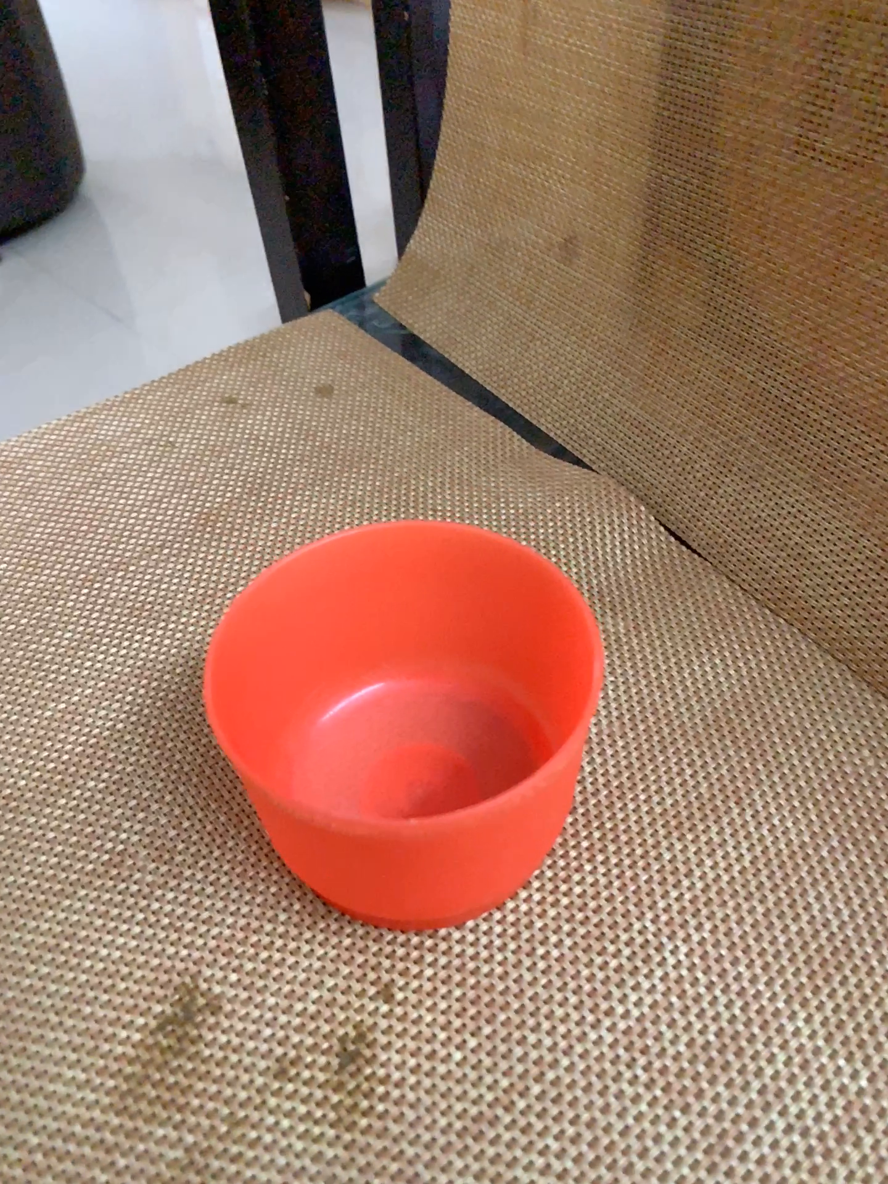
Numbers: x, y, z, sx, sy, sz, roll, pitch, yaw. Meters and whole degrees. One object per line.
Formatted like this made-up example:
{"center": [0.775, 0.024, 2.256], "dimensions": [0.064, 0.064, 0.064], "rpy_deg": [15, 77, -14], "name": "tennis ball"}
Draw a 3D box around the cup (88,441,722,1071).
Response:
{"center": [-0.007, 0.024, 0.181], "dimensions": [0.079, 0.050, 0.082], "rpy_deg": [-2, 45, 2], "name": "cup"}
